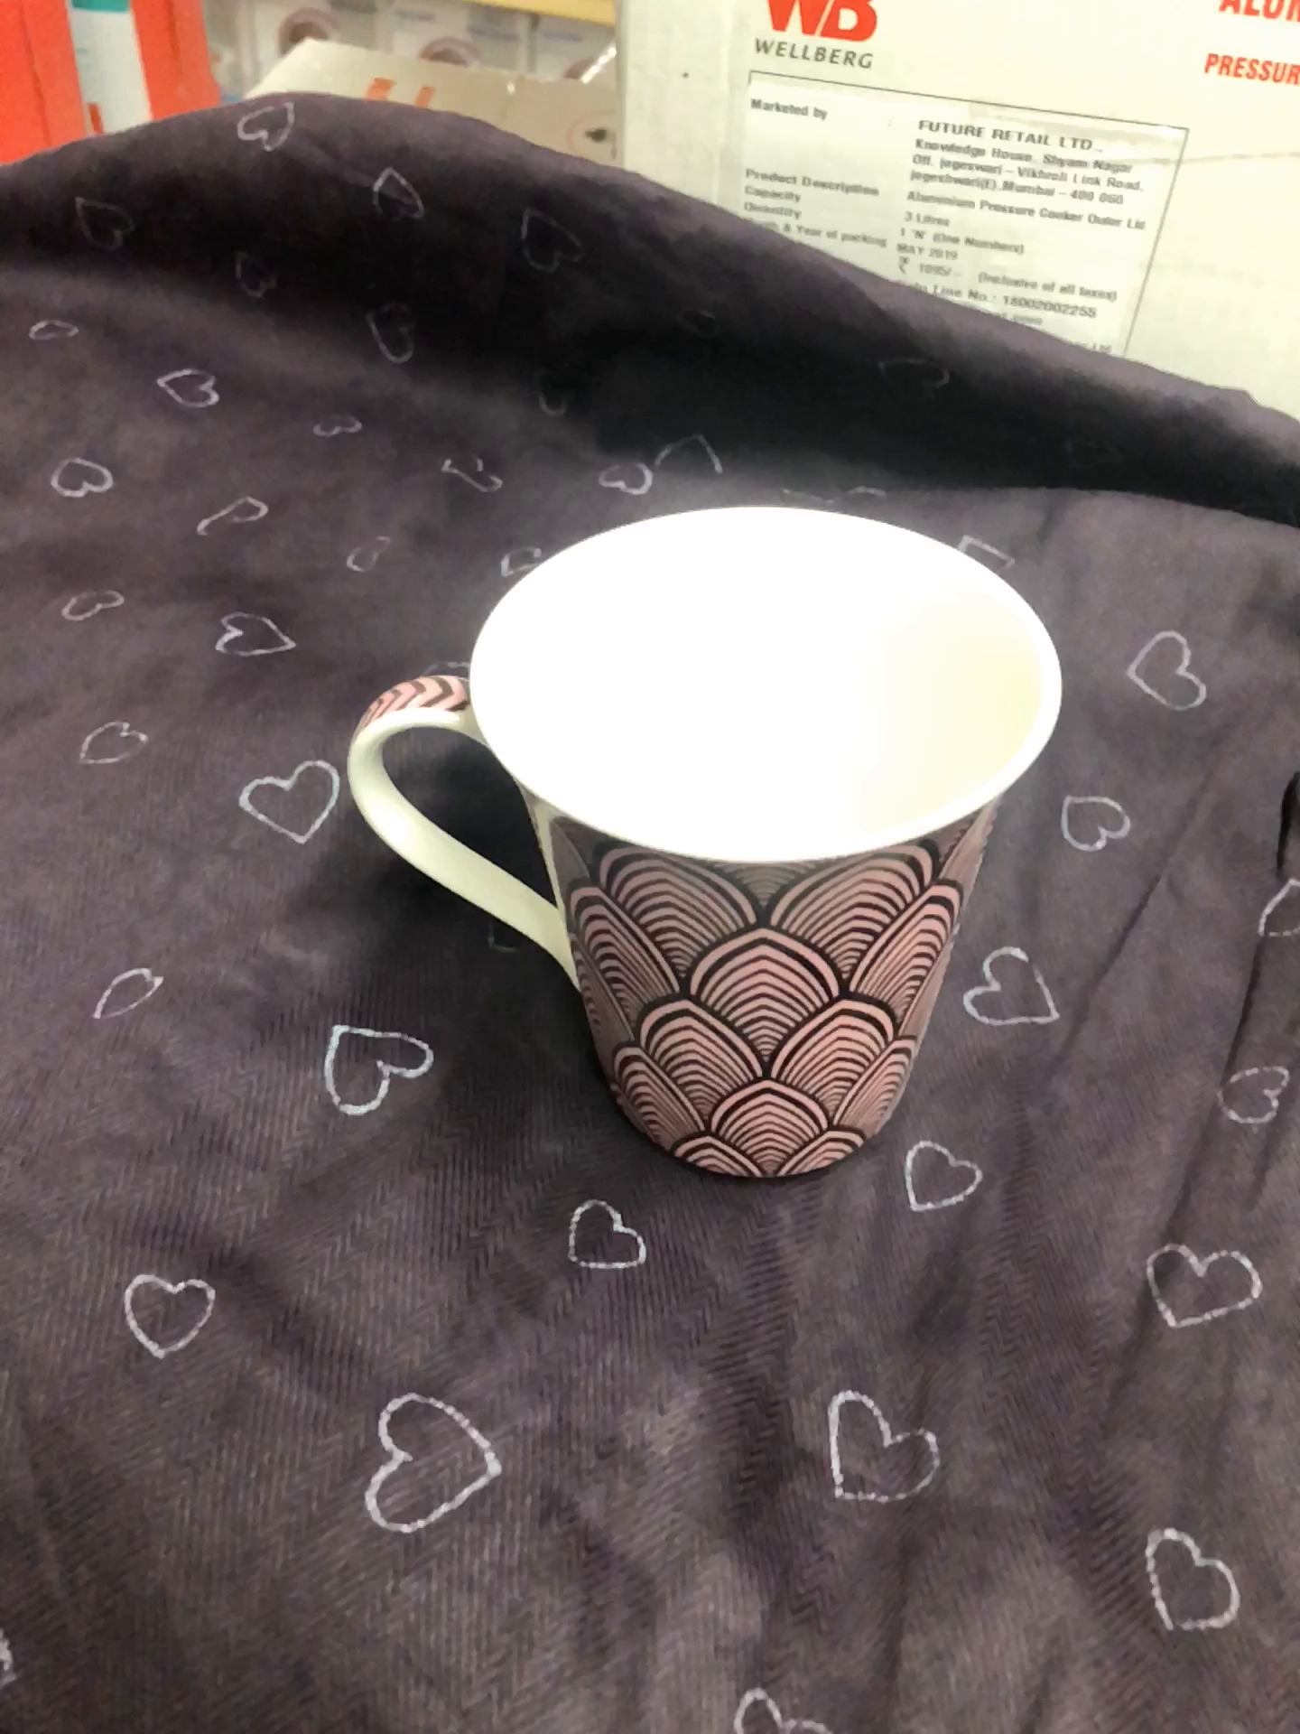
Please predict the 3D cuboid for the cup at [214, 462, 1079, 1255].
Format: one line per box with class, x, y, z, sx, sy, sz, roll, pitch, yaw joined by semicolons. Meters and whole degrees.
cup;0.006;-0.003;0.265;0.120;0.099;0.091;5;45;8
